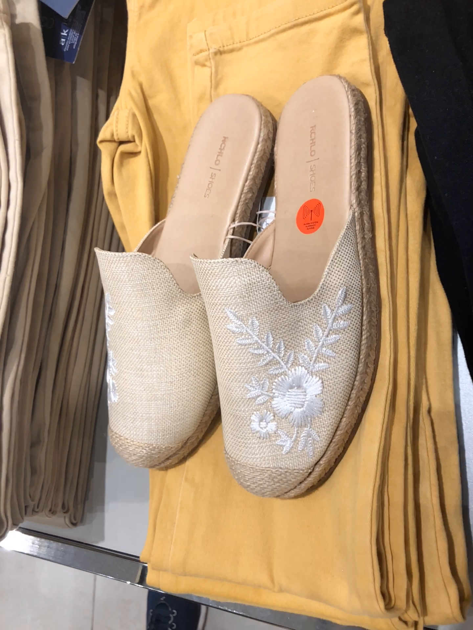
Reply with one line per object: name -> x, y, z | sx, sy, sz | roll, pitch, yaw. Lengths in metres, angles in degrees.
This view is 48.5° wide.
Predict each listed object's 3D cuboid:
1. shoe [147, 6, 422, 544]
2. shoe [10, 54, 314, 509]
shoe -> 0.030, -0.021, 0.282 | 0.090, 0.070, 0.240 | 5, 82, 34
shoe -> -0.043, -0.022, 0.318 | 0.090, 0.070, 0.240 | 17, 88, 35
